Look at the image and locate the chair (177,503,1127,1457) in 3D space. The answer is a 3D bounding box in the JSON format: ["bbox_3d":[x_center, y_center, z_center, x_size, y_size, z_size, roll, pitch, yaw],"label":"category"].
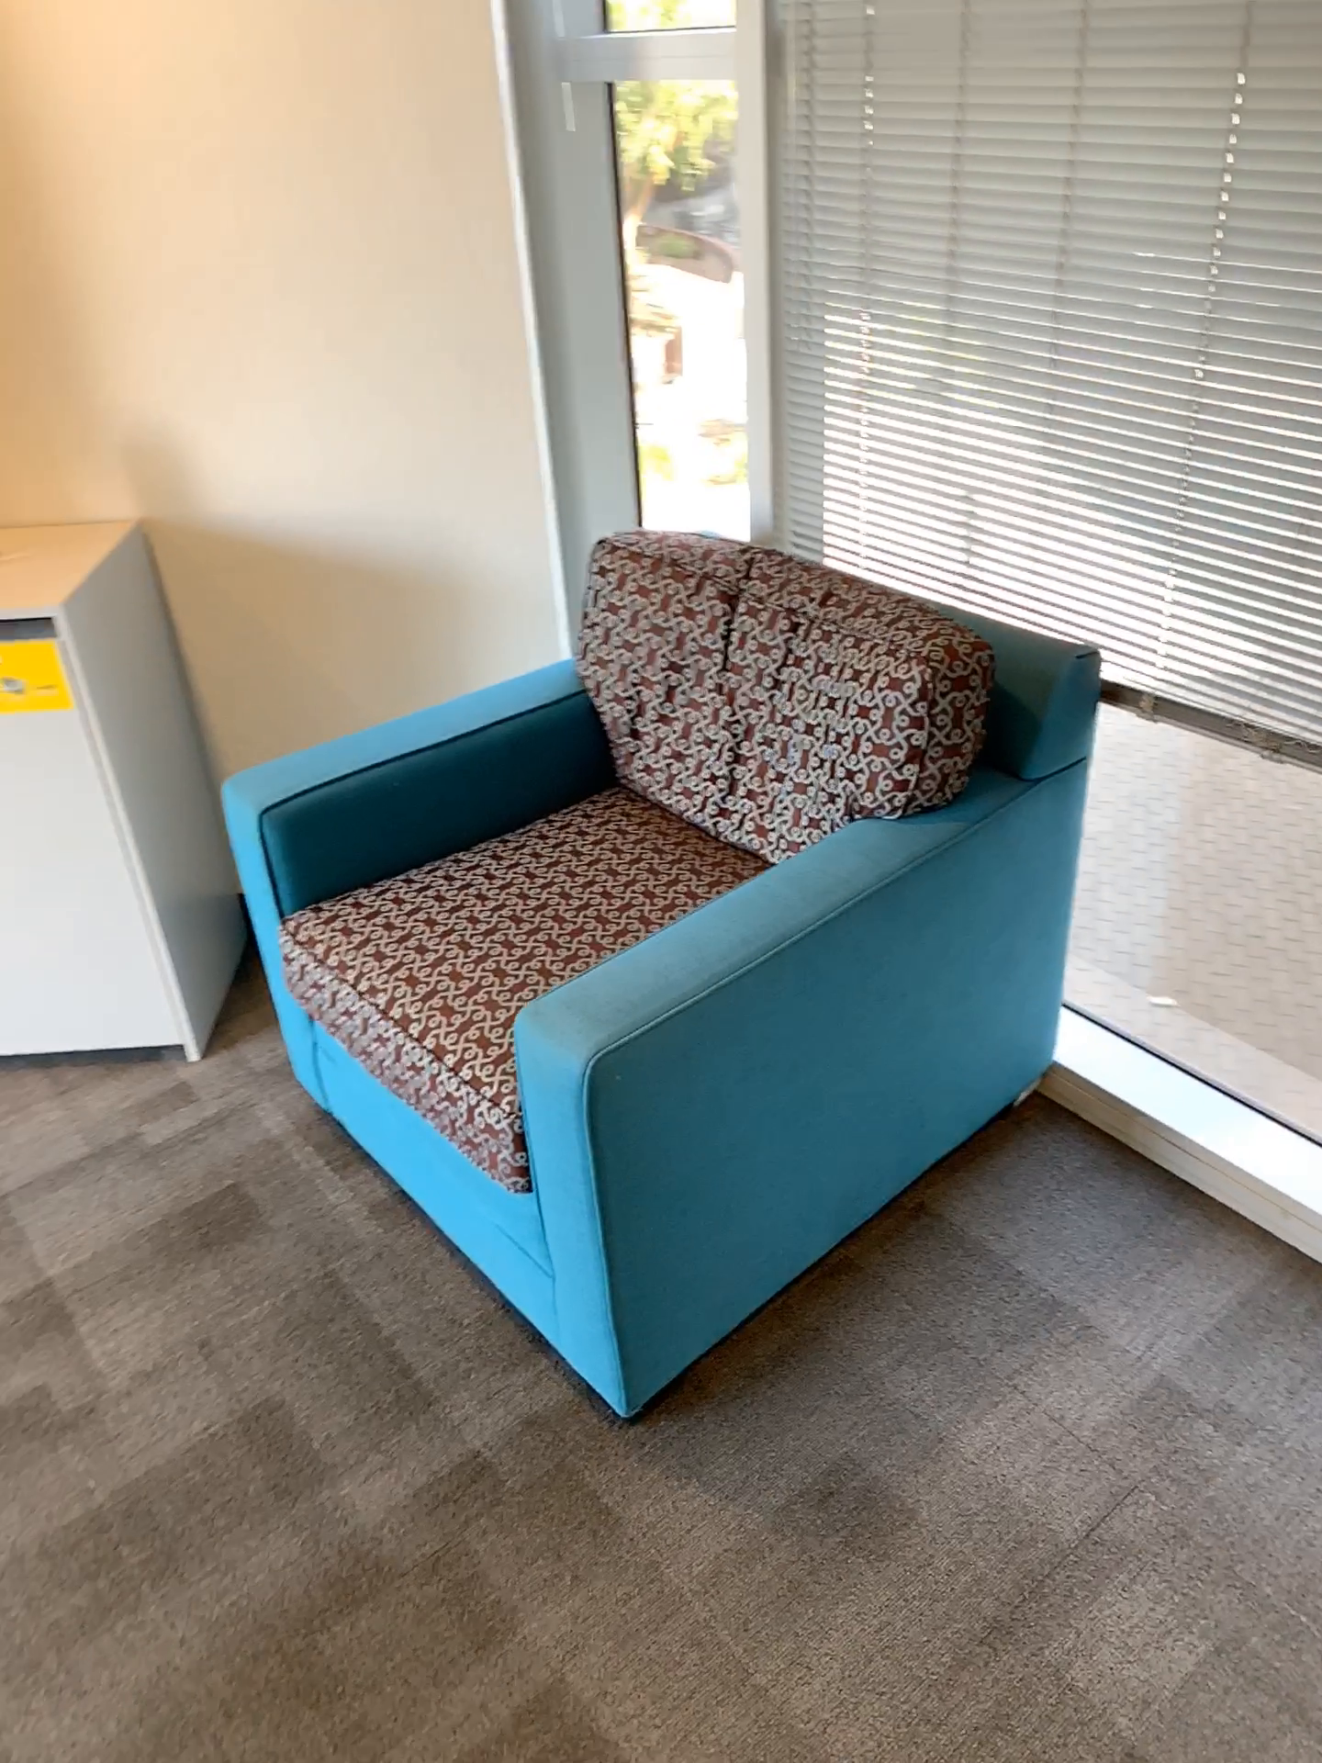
[{"bbox_3d":[-0.014,0.032,2.033,0.921,0.825,0.914,-26,38,-30],"label":"chair"}]
